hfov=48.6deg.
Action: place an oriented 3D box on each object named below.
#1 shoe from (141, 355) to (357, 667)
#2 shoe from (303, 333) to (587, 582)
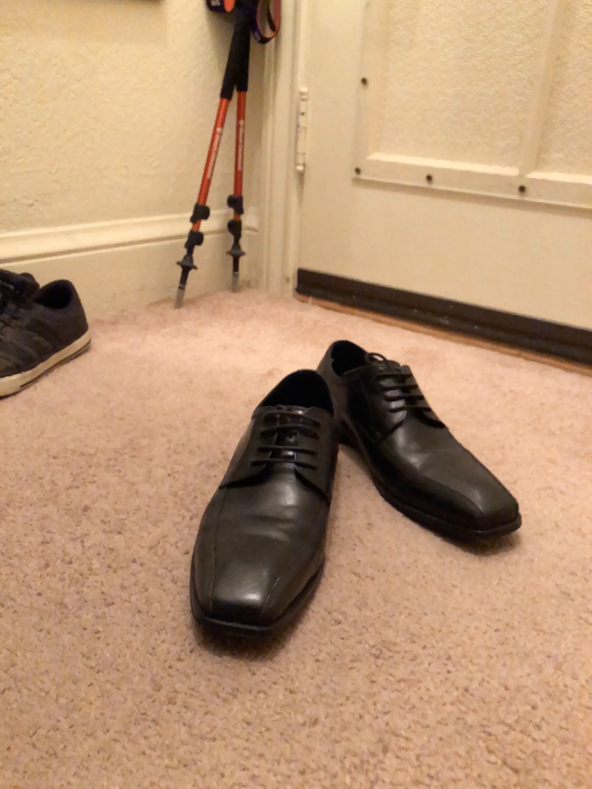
[{"bbox_3d":[-0.021,0.070,0.551,0.110,0.107,0.284,7,24,8],"label":"shoe"},{"bbox_3d":[0.126,0.041,0.669,0.115,0.110,0.298,-8,26,-24],"label":"shoe"}]
